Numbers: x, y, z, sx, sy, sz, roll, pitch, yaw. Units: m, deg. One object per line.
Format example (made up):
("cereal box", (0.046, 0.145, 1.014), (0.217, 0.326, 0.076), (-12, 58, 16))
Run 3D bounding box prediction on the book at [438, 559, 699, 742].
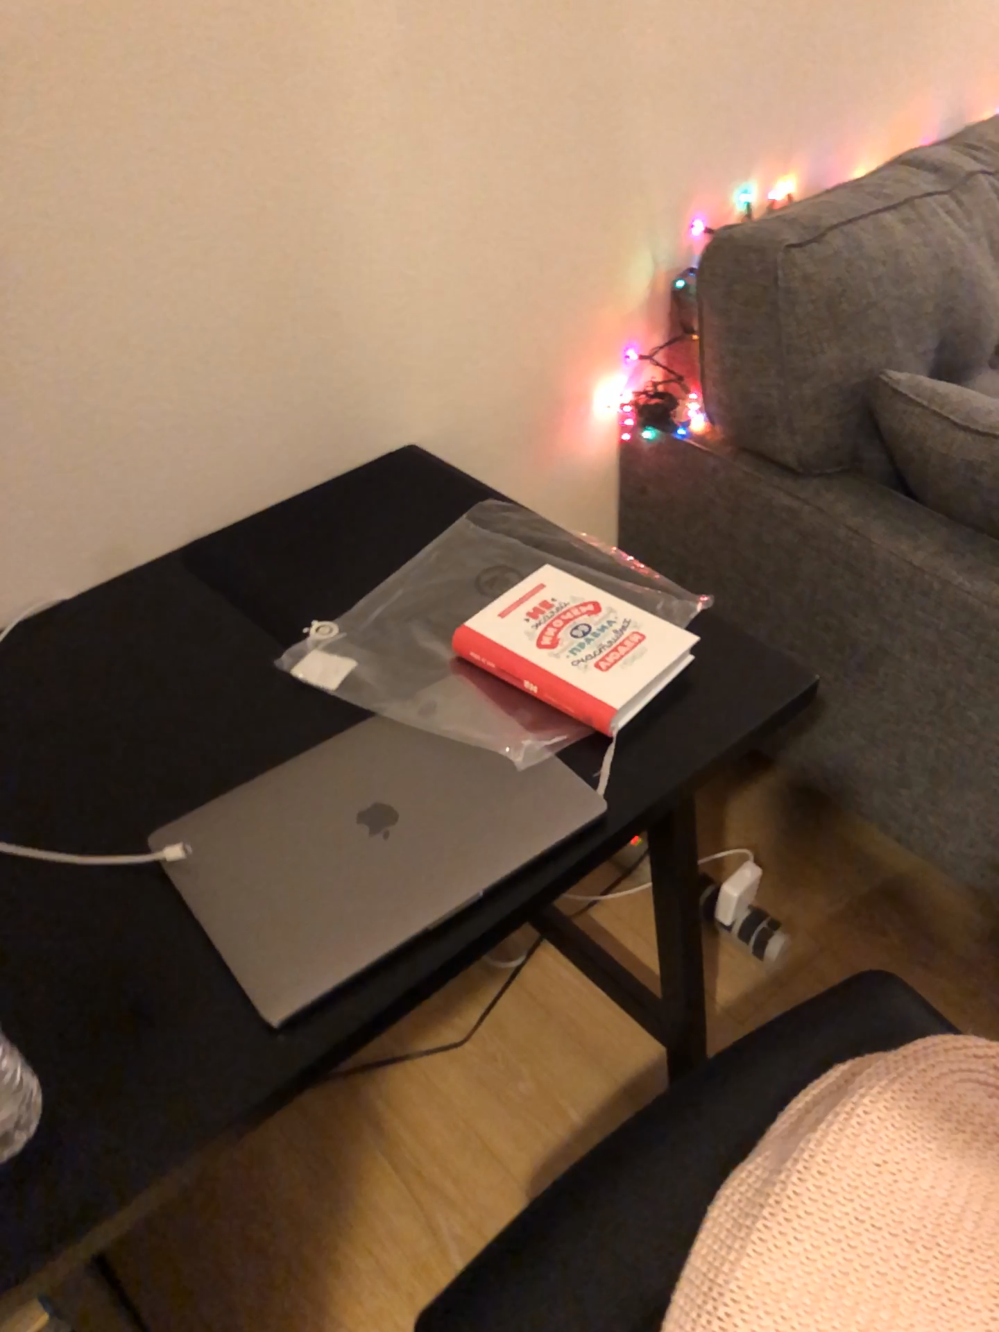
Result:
("book", (0.062, -0.021, 1.010), (0.190, 0.030, 0.141), (26, 48, 30))
